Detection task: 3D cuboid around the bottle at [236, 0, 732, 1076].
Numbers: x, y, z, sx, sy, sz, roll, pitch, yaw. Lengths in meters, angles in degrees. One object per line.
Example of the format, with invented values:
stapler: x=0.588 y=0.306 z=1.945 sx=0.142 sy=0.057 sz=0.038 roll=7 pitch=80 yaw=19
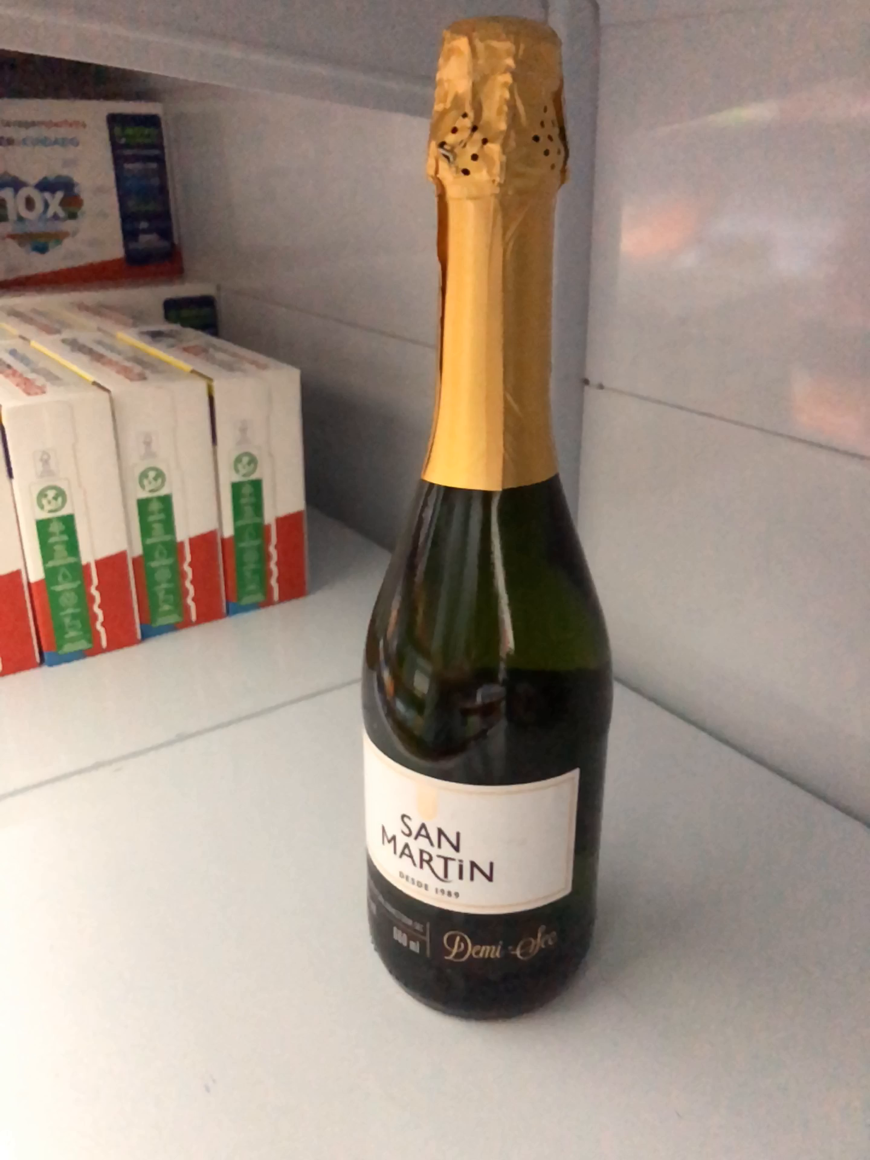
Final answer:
bottle: x=0.016 y=-0.012 z=0.289 sx=0.090 sy=0.308 sz=0.080 roll=13 pitch=27 yaw=28
